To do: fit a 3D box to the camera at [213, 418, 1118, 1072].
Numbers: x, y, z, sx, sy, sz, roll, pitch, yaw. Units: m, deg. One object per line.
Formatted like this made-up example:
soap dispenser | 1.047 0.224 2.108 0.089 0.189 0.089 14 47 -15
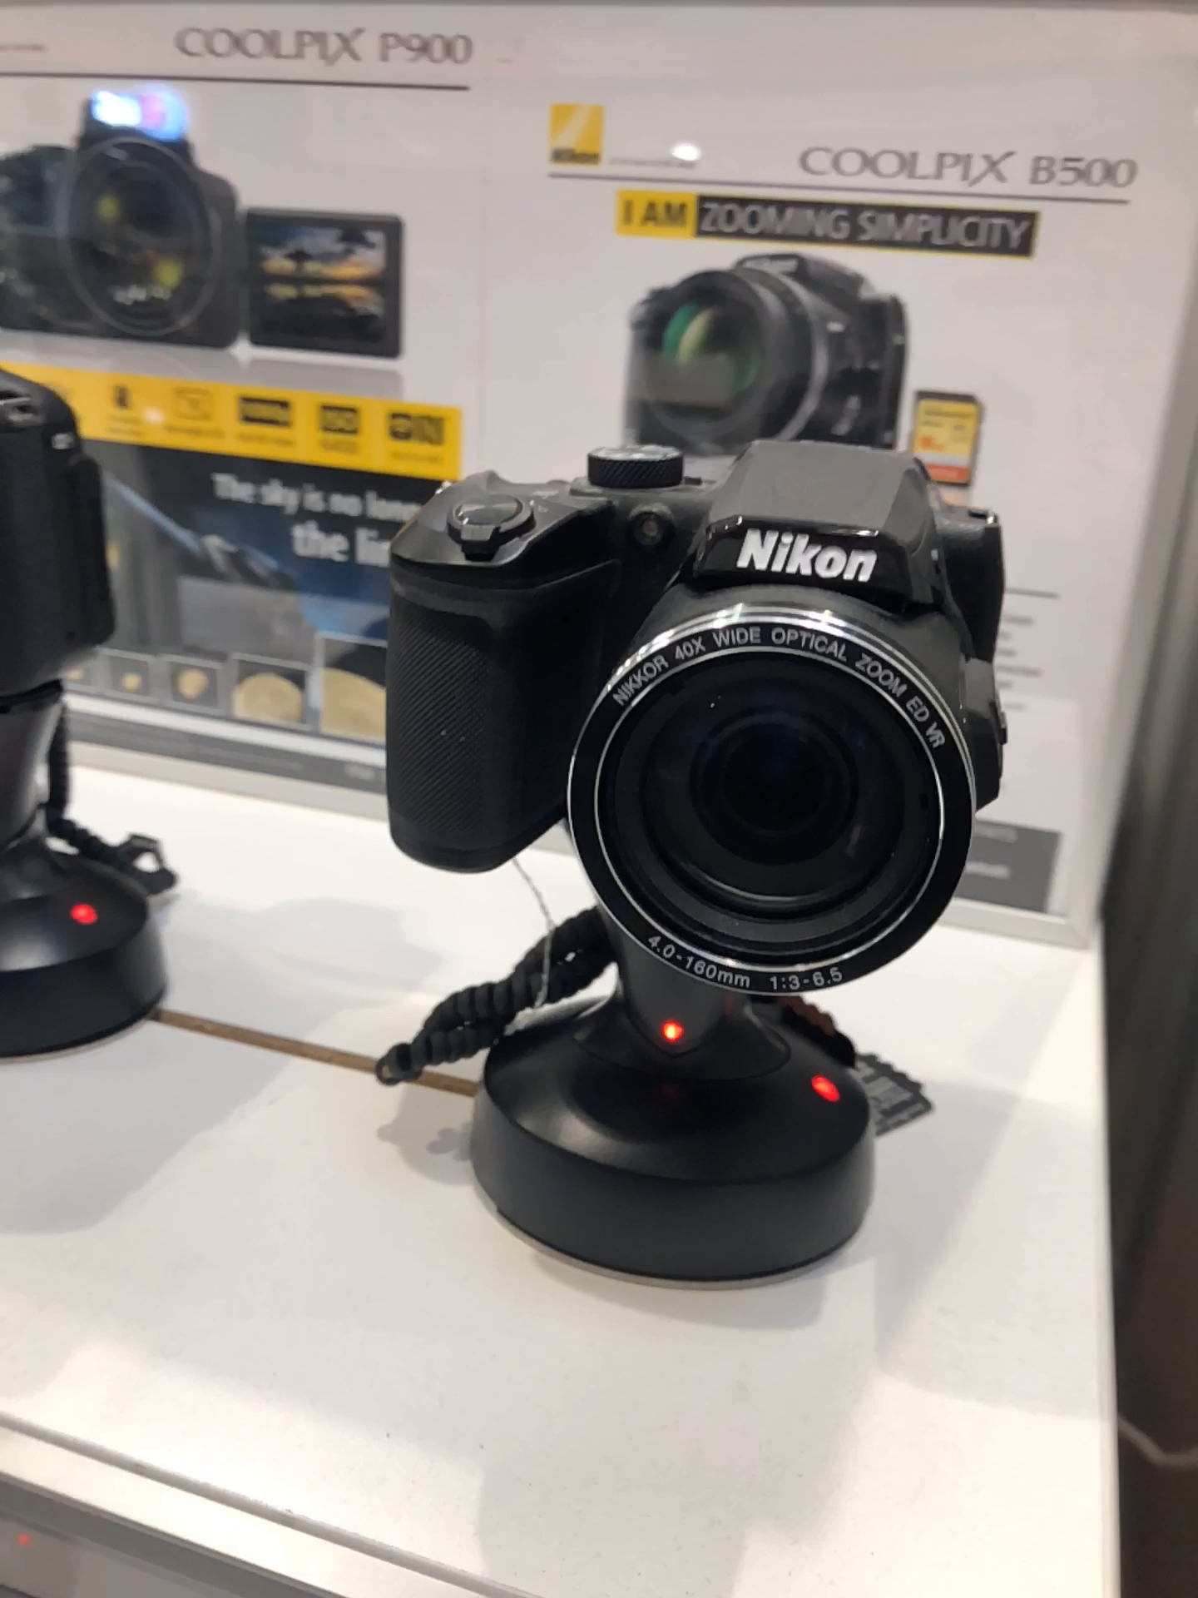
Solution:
camera | 0.015 -0.021 0.231 0.120 0.070 0.100 8 22 13
